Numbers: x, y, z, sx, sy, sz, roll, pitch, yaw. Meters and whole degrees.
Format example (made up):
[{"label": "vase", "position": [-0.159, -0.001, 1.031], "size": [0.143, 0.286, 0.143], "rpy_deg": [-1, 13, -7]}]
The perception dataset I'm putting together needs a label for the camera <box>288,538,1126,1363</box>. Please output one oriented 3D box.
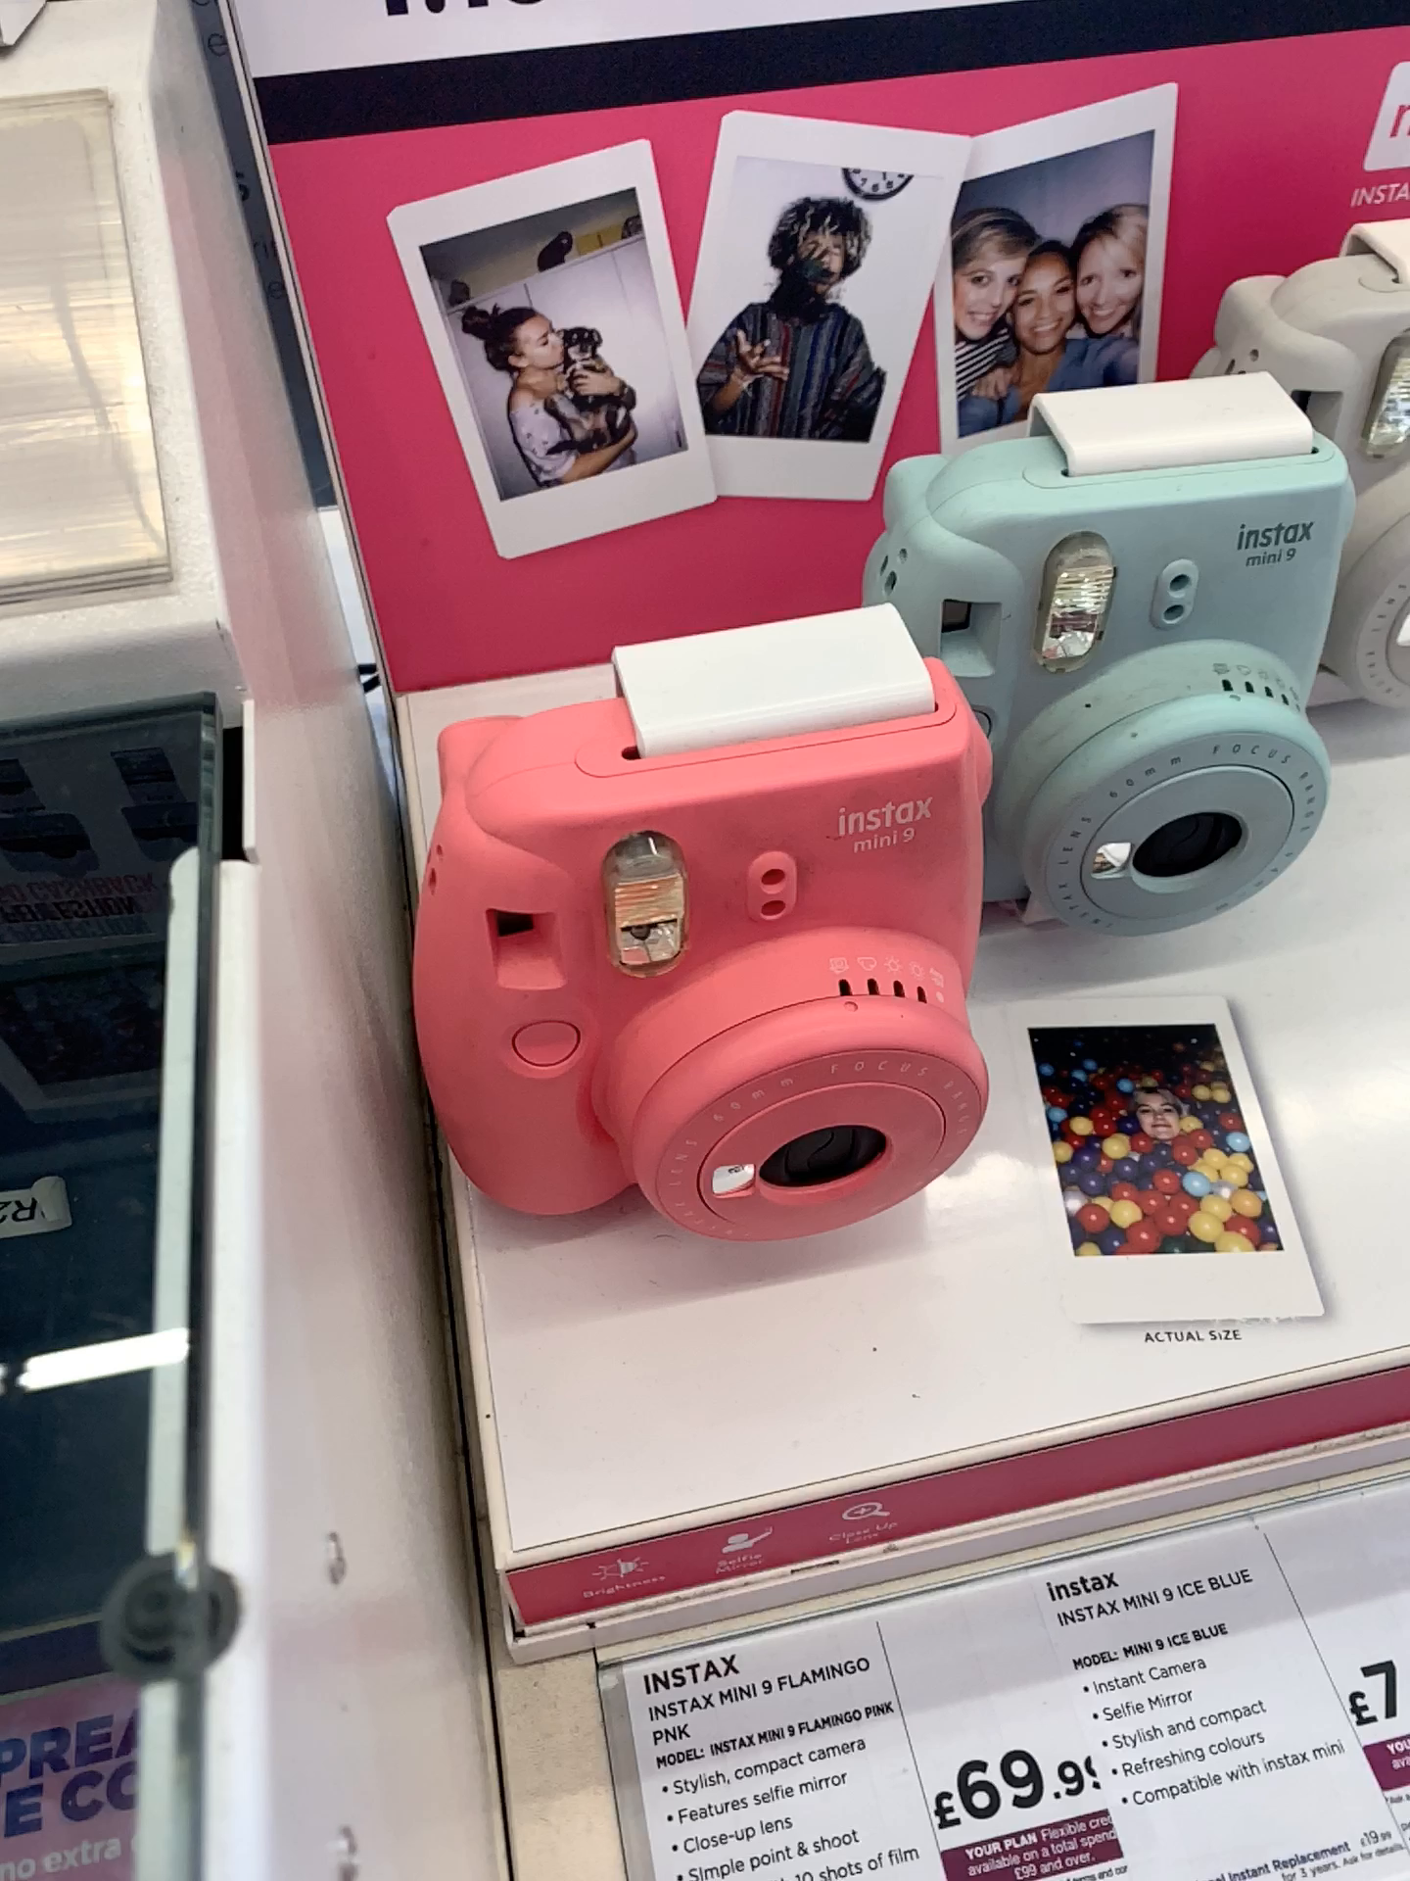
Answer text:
[{"label": "camera", "position": [-0.004, 0.005, 0.278], "size": [0.120, 0.119, 0.081], "rpy_deg": [-10, 50, -7]}]
